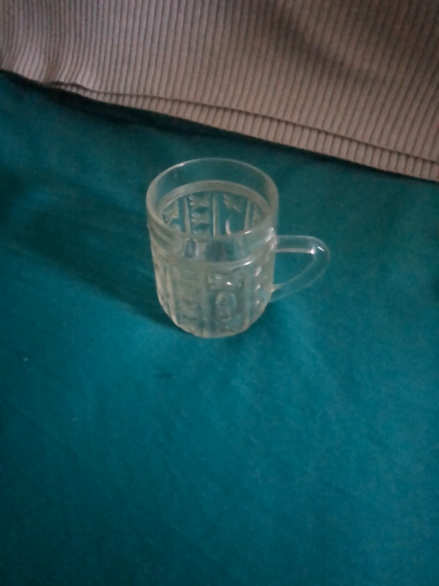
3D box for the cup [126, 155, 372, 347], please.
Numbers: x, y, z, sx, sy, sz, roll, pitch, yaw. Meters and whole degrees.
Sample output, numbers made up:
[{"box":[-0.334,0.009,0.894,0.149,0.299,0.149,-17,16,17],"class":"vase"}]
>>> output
[{"box":[0.013,-0.020,0.256,0.104,0.076,0.064,1,53,1],"class":"cup"}]
